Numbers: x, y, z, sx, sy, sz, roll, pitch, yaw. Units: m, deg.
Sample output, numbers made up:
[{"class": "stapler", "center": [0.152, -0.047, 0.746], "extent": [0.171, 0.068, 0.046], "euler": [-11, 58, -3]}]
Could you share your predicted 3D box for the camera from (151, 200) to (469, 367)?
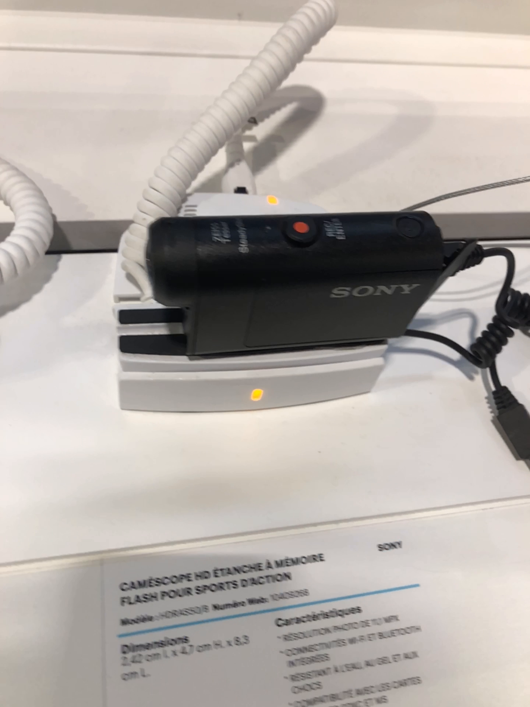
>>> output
[{"class": "camera", "center": [0.009, -0.019, 0.170], "extent": [0.080, 0.045, 0.020], "euler": [-3, 56, -11]}]
